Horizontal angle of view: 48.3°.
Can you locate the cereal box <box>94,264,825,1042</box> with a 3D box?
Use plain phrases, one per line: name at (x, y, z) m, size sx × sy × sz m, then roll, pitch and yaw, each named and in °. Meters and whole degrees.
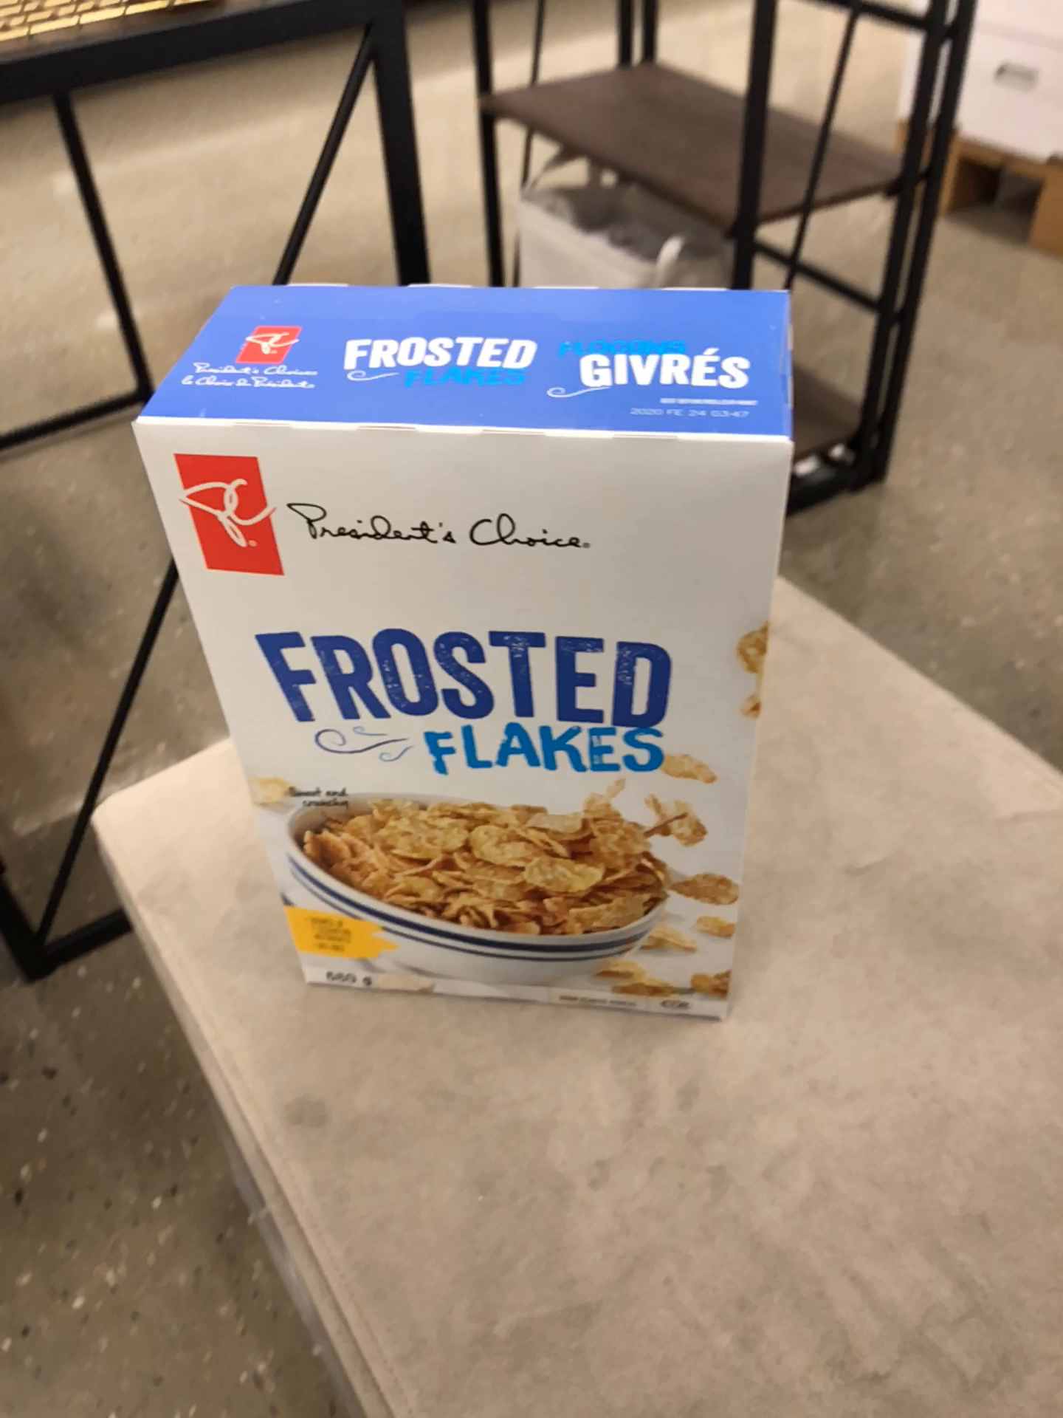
cereal box at (-0.010, -0.005, 0.453) m, size 0.200 × 0.289 × 0.100 m, roll 4°, pitch 43°, yaw 8°
